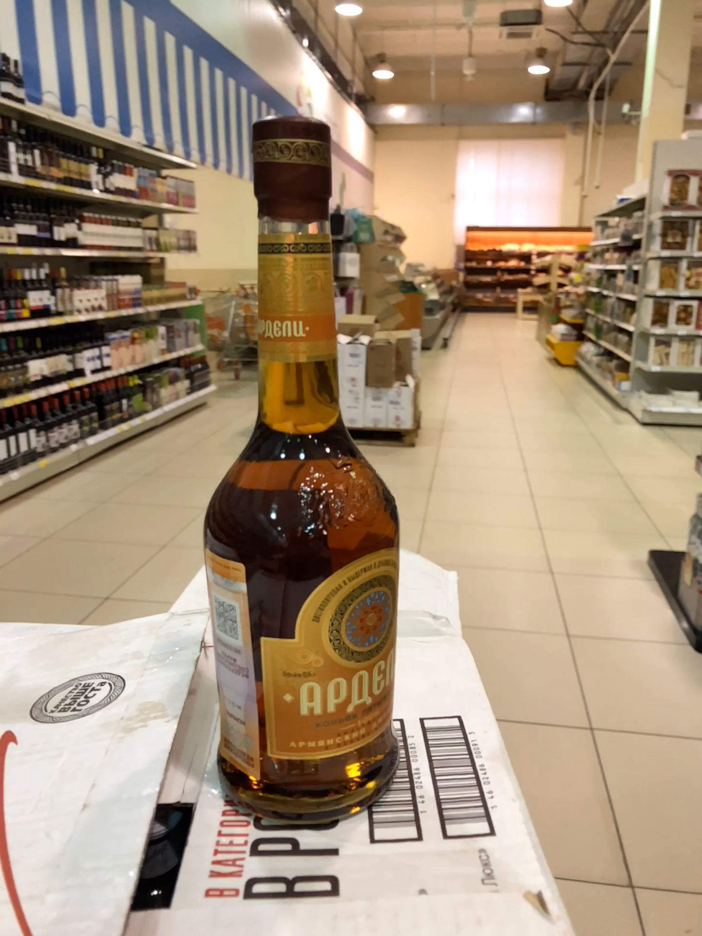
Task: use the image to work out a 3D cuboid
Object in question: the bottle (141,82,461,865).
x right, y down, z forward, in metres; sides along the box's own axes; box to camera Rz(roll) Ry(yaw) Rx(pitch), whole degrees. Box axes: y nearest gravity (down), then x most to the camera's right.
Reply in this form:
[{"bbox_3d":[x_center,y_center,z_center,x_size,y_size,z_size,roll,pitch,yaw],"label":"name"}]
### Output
[{"bbox_3d":[-0.020,0.003,0.302,0.080,0.259,0.080,1,14,0],"label":"bottle"}]
